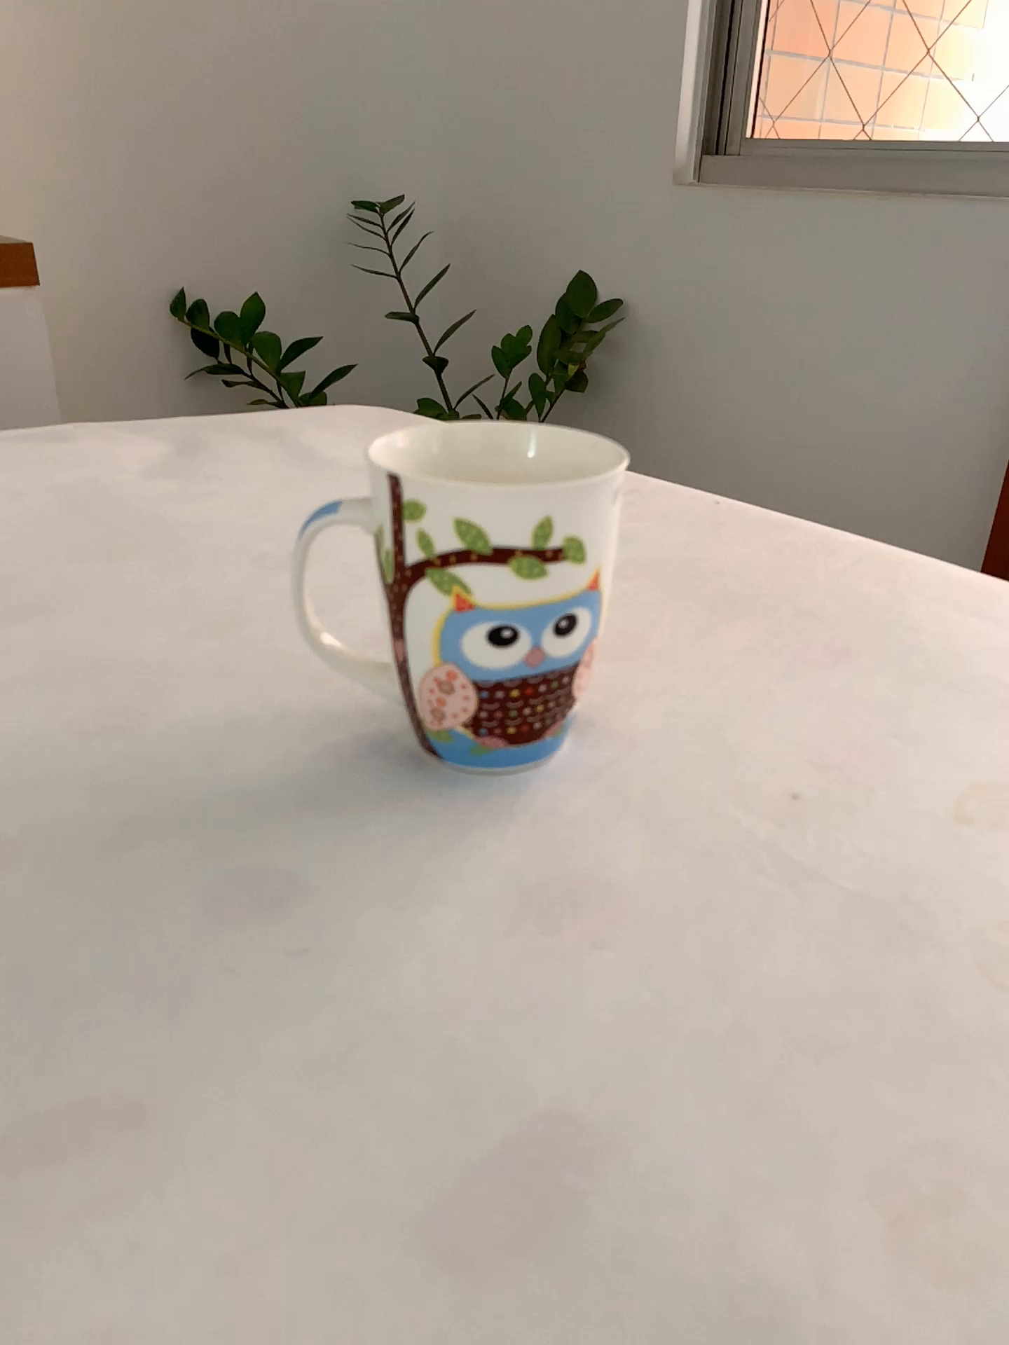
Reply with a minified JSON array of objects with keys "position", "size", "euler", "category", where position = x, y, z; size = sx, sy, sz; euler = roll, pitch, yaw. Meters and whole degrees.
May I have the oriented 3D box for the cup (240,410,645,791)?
[{"position":[-0.021,-0.026,0.337],"size":[0.110,0.099,0.080],"euler":[0,26,-5],"category":"cup"}]
